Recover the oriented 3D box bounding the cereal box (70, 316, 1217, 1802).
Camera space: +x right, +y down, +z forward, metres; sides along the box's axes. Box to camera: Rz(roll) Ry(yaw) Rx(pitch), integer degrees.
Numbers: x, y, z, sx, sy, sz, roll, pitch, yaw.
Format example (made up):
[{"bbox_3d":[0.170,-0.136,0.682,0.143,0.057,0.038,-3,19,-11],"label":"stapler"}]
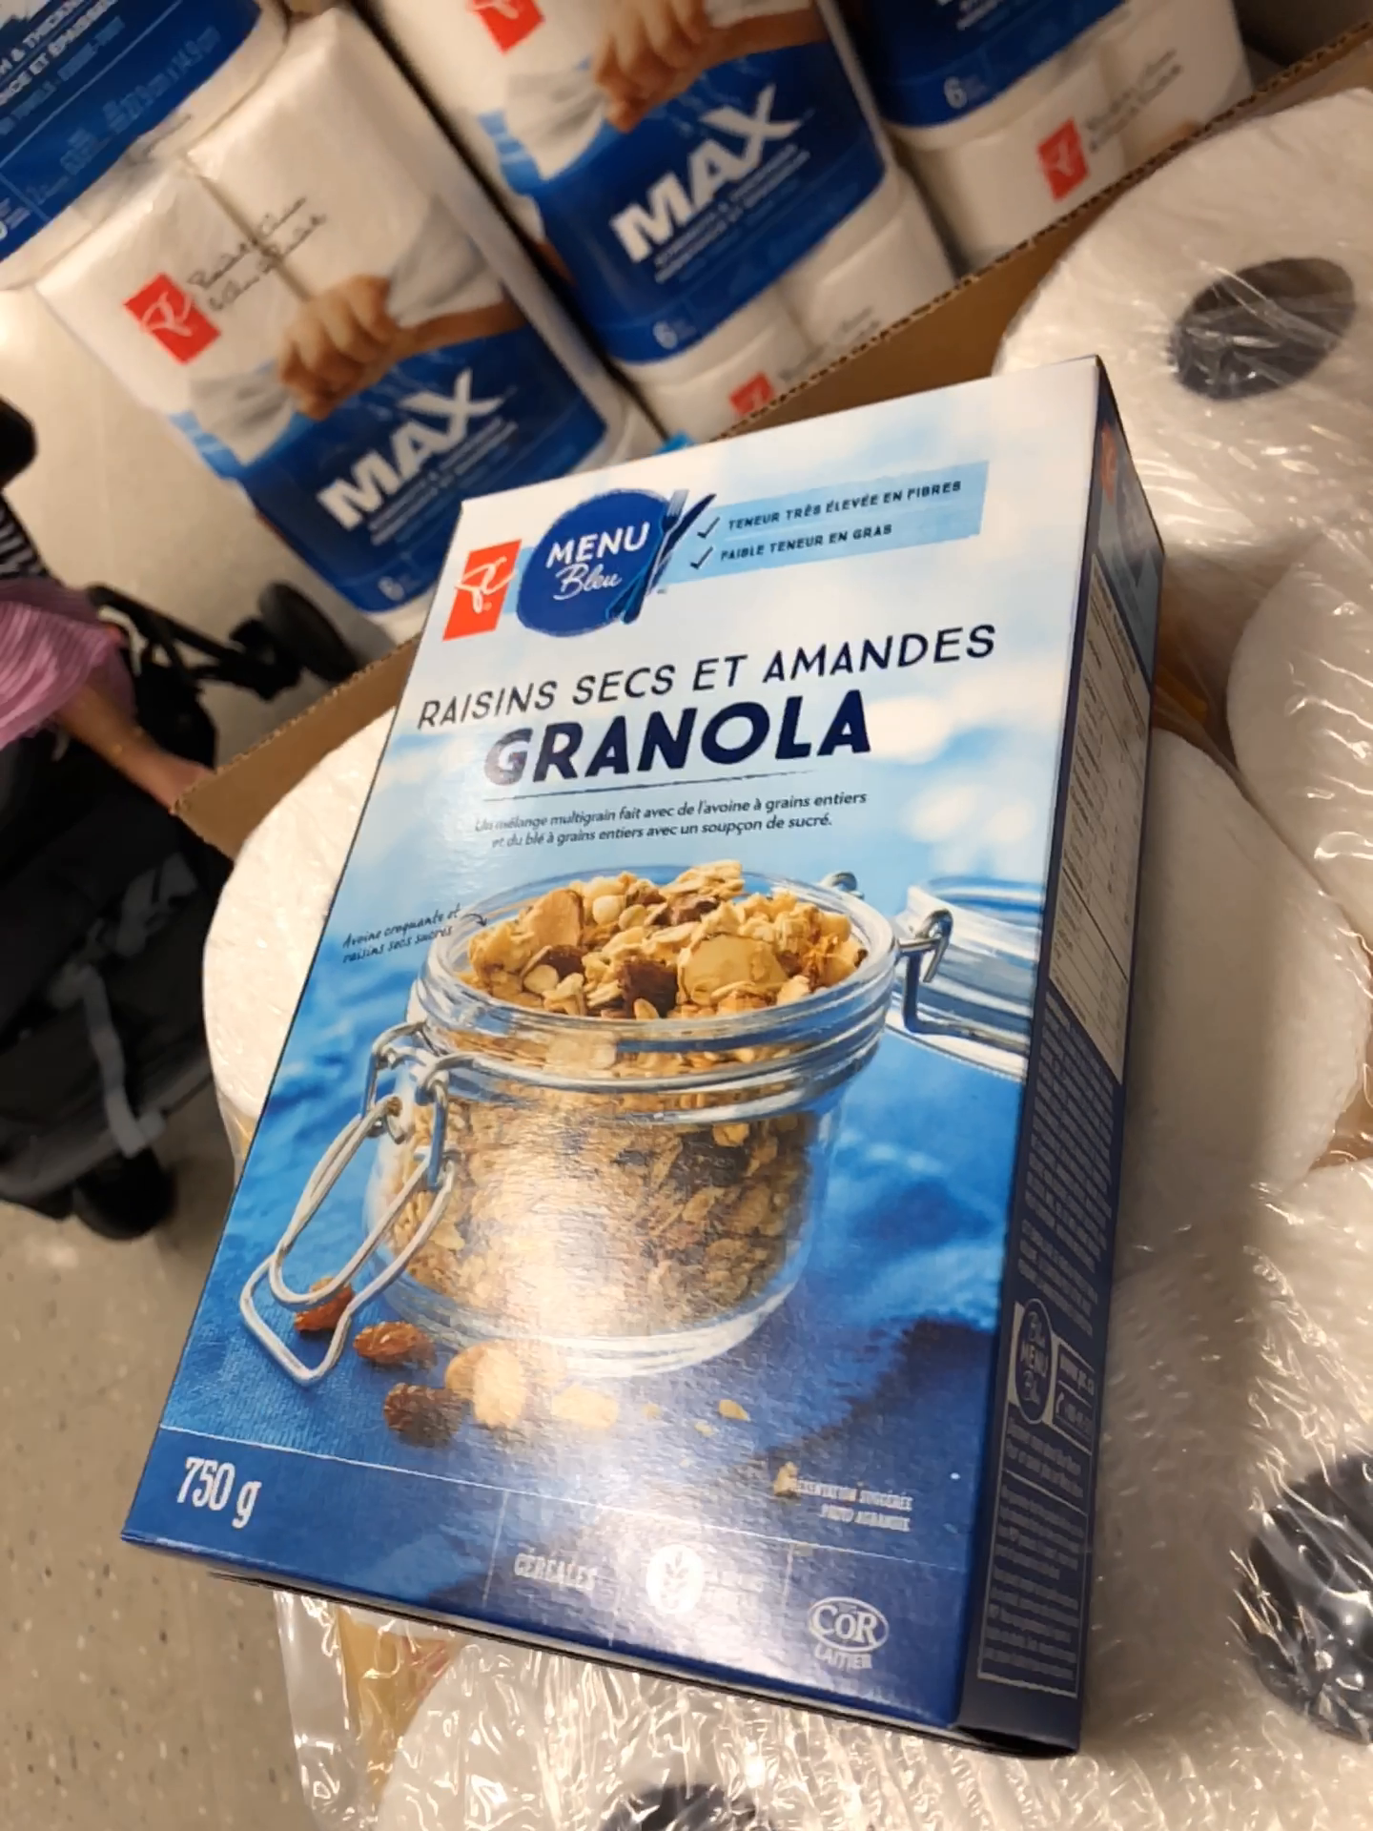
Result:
[{"bbox_3d":[0.004,0.013,0.306,0.170,0.060,0.250,-2,61,30],"label":"cereal box"}]
